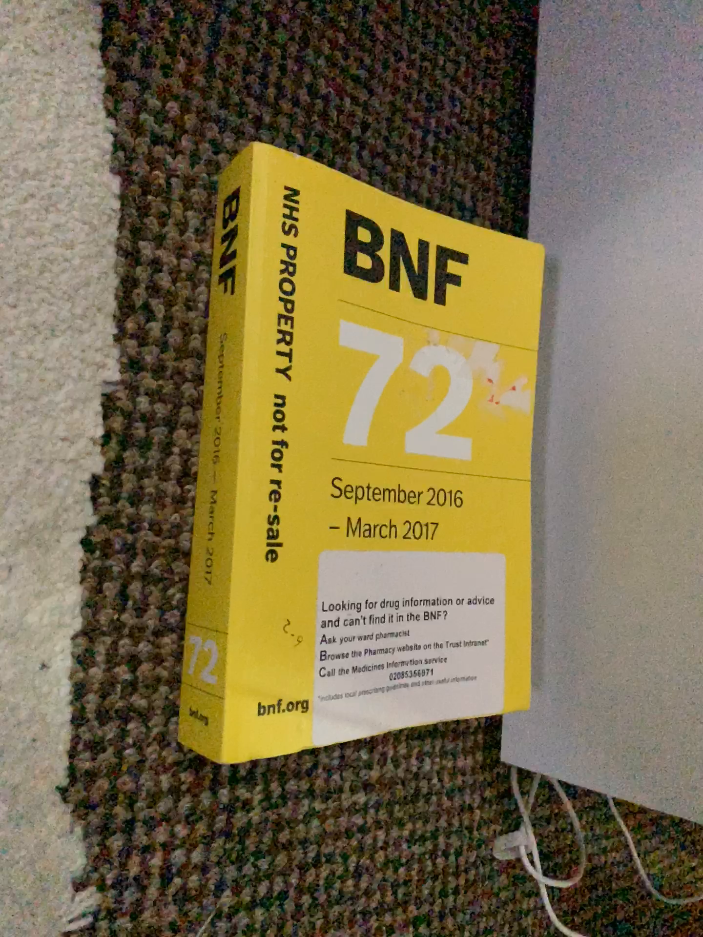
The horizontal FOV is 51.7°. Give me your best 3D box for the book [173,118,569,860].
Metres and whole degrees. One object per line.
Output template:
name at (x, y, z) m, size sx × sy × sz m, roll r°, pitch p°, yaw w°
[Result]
book at (0.020, 0.008, 0.287) m, size 0.161 × 0.050 × 0.220 m, roll 6°, pitch 84°, yaw -42°
